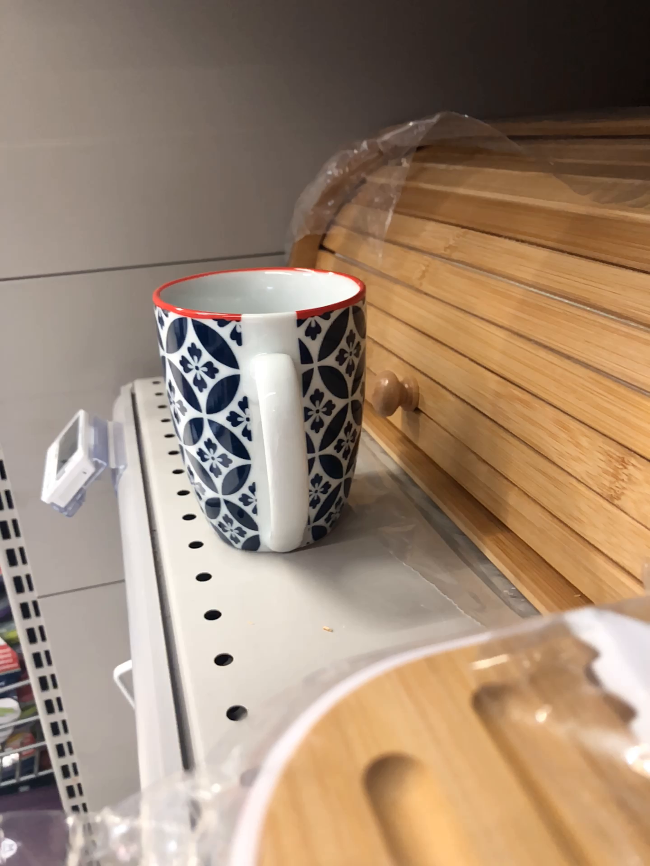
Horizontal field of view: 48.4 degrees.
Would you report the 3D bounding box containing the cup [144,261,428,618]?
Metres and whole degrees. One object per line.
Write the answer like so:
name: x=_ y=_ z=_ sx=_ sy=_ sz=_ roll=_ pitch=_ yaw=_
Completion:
cup: x=-0.020 y=-0.008 z=0.277 sx=0.080 sy=0.090 sz=0.113 roll=-8 pitch=23 yaw=-13
